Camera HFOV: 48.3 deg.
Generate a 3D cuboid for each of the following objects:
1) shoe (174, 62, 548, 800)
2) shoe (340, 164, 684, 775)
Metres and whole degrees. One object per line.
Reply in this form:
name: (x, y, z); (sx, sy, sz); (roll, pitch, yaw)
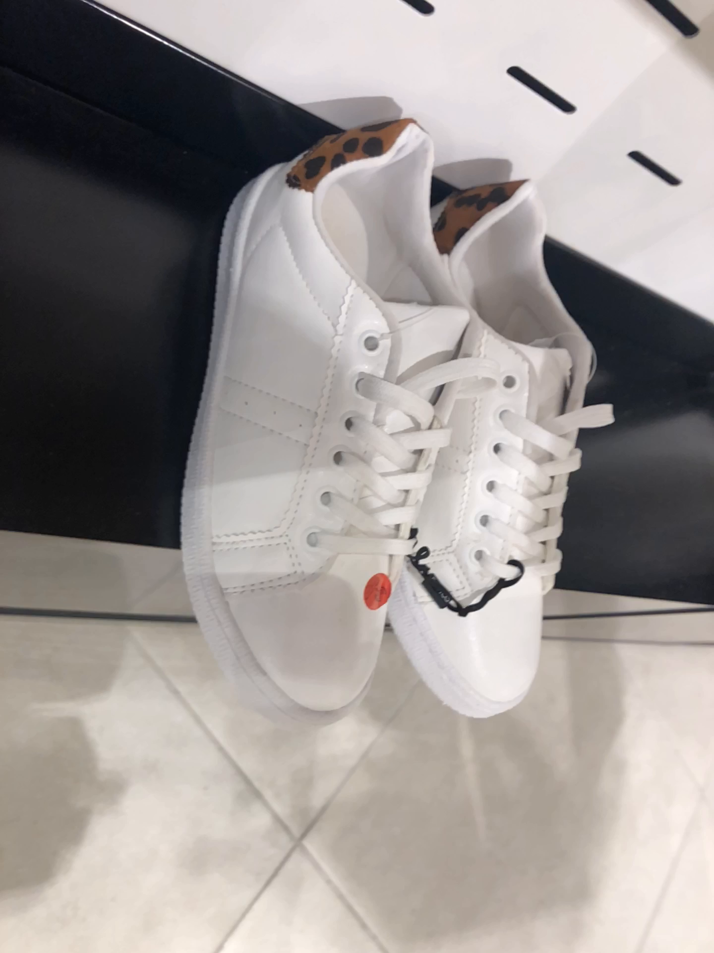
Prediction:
shoe: (0.001, -0.011, 0.299); (0.091, 0.099, 0.220); (8, 79, -38)
shoe: (0.064, -0.001, 0.352); (0.091, 0.099, 0.220); (1, 83, -39)
